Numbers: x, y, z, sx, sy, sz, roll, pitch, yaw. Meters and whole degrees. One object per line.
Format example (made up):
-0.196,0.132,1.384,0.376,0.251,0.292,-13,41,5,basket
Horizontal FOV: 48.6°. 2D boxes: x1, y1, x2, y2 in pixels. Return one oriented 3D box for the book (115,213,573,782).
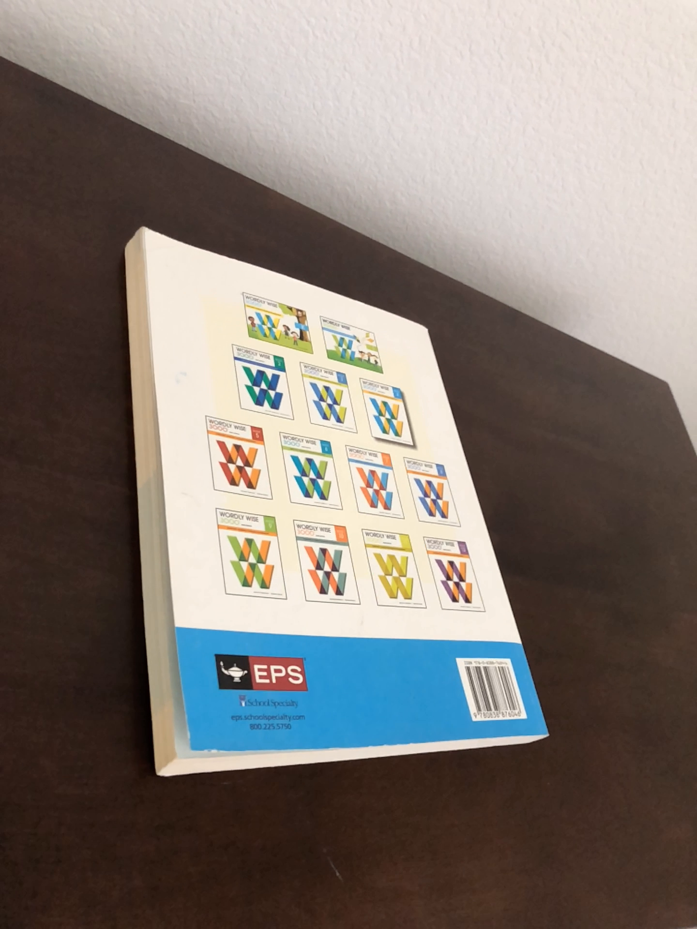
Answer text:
-0.006,0.012,0.407,0.221,0.031,0.271,11,54,-35,book
